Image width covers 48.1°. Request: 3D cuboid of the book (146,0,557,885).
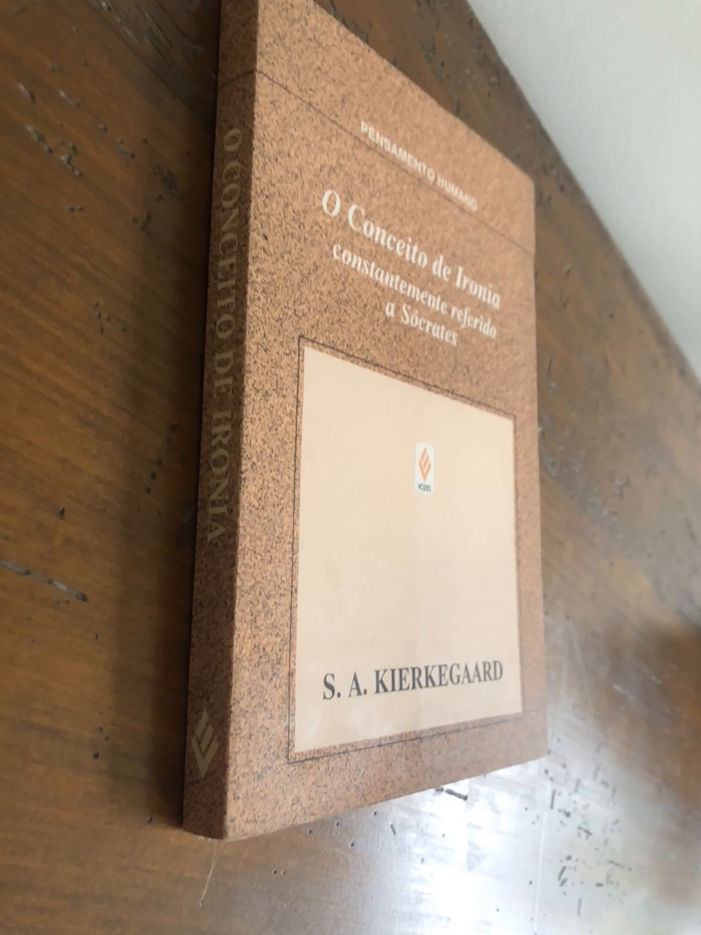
[{"bbox_3d":[0.014,-0.015,0.236,0.145,0.024,0.220,12,74,-48],"label":"book"}]
